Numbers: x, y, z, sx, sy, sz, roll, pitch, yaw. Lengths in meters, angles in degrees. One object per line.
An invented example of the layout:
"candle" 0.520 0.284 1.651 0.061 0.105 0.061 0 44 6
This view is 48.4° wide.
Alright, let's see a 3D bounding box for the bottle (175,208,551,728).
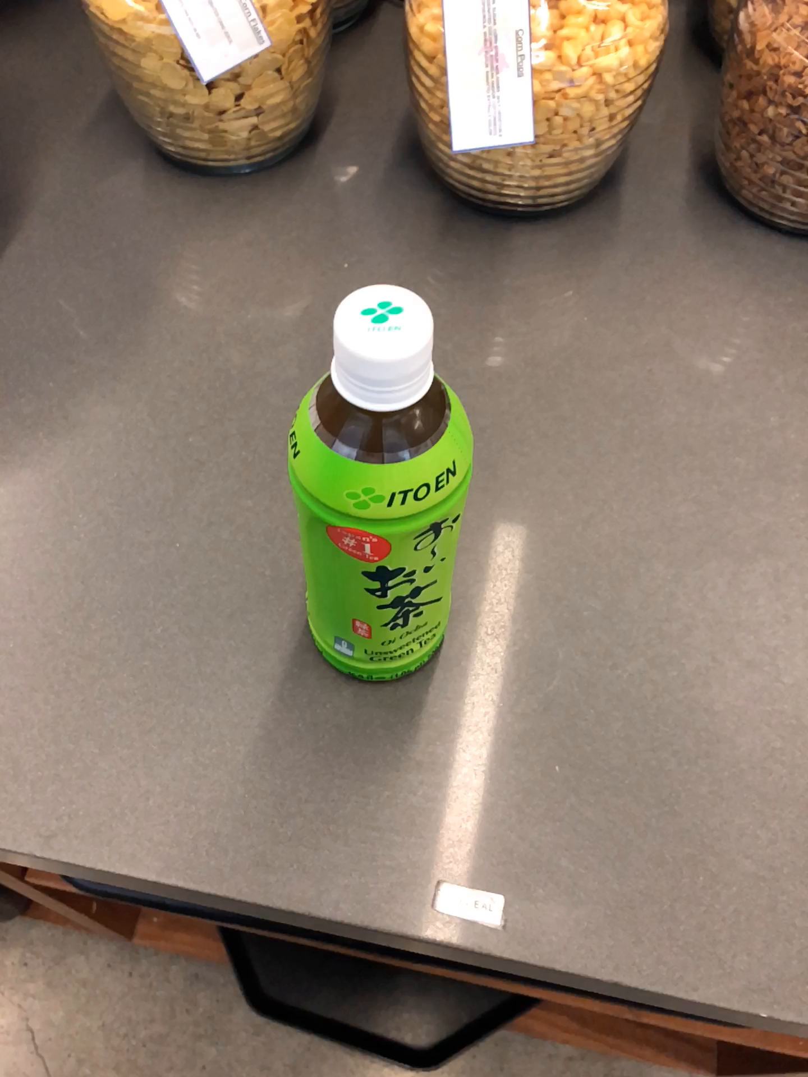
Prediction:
"bottle" -0.014 -0.013 0.351 0.080 0.190 0.080 1 59 -1
